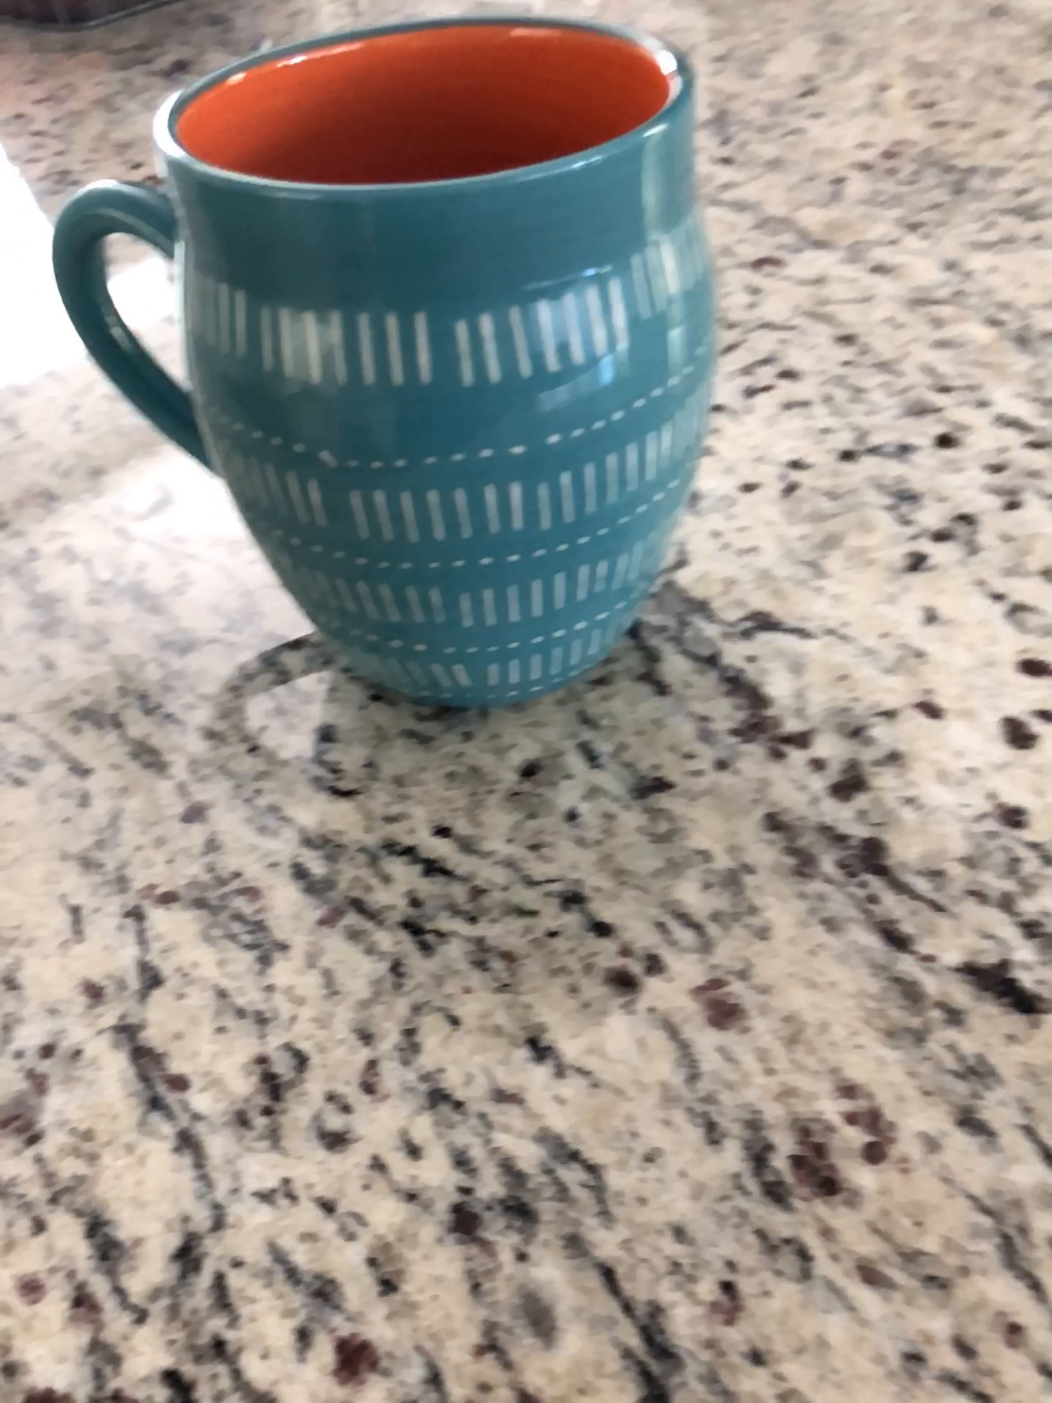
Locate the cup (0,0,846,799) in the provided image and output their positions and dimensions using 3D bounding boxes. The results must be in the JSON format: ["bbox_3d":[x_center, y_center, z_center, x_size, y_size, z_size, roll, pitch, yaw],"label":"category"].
[{"bbox_3d":[-0.032,-0.077,0.247,0.150,0.099,0.111,23,49,27],"label":"cup"}]
